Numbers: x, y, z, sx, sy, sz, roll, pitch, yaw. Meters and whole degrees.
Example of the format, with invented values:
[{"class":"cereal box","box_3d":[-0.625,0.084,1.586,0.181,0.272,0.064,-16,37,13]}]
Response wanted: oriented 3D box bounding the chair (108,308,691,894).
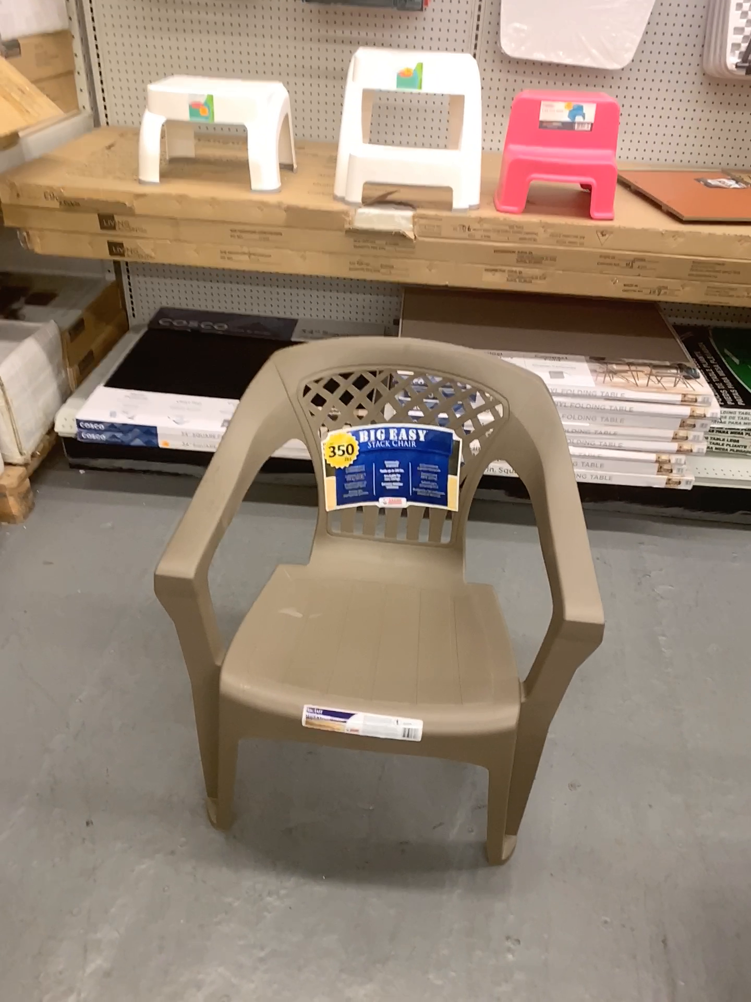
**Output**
[{"class":"chair","box_3d":[0.033,0.187,1.482,0.766,0.878,0.590,6,35,4]}]
